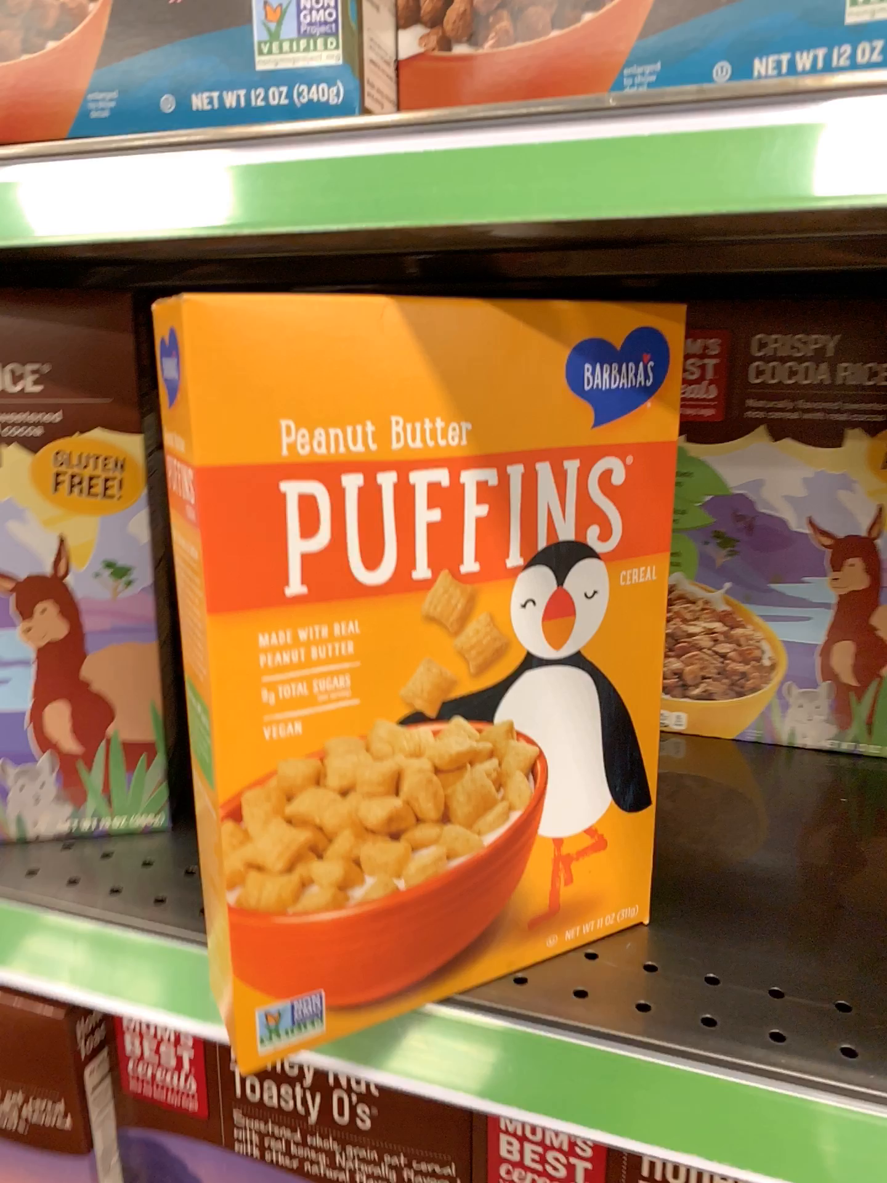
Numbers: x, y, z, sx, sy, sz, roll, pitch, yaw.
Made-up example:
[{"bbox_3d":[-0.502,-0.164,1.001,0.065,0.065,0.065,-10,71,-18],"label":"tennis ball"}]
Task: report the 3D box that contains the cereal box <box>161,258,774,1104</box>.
[{"bbox_3d":[0.017,0.024,0.361,0.220,0.279,0.060,-7,16,-27],"label":"cereal box"}]
